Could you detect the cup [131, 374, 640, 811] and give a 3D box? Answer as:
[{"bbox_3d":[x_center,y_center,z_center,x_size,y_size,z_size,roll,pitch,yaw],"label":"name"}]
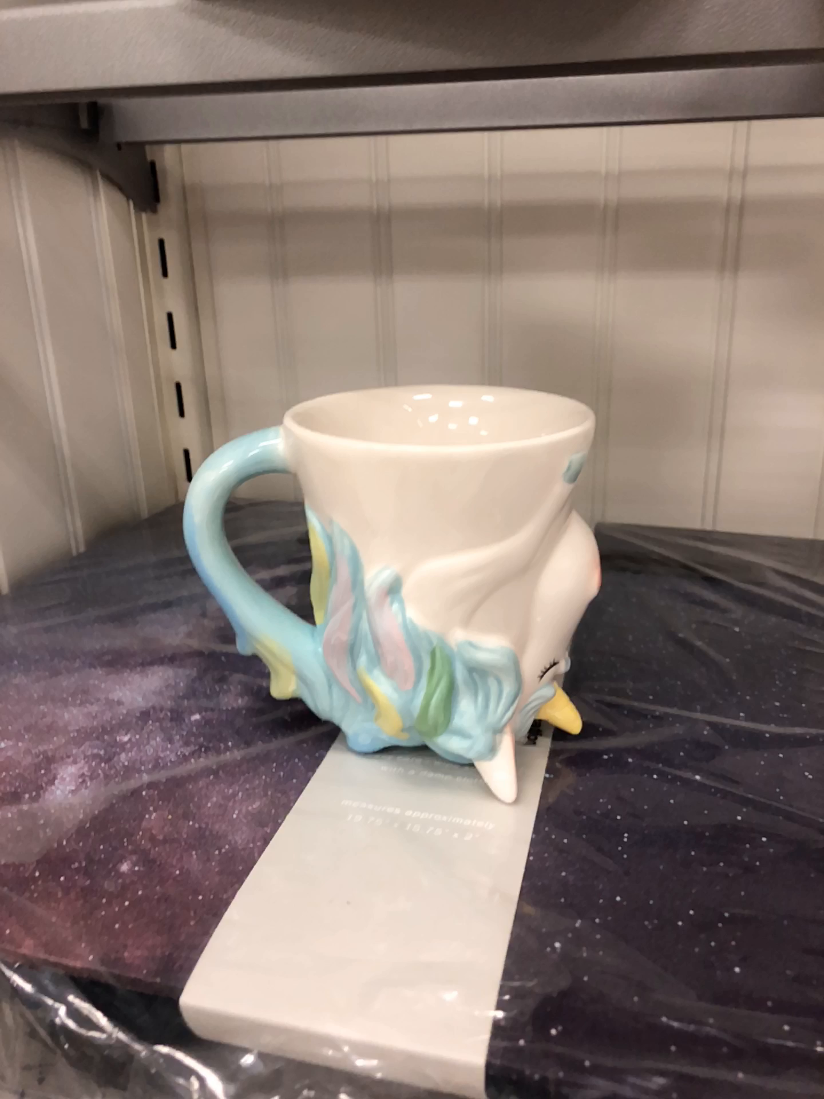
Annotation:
[{"bbox_3d":[-0.004,0.009,0.318,0.140,0.118,0.101,0,21,4],"label":"cup"}]
